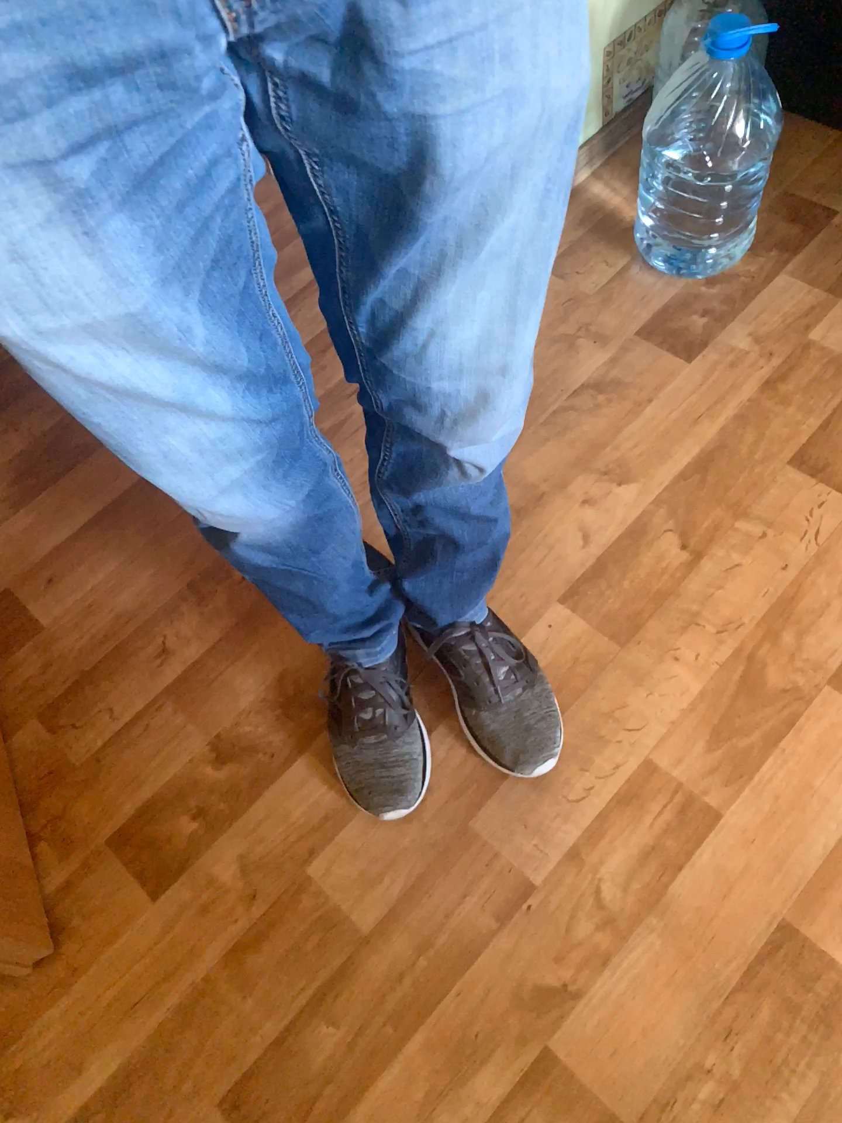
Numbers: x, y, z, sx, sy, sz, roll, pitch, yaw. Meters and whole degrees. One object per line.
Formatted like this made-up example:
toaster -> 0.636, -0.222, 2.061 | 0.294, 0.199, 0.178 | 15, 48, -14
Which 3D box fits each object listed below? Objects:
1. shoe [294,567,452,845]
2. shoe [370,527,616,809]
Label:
shoe -> -0.059, 0.163, 1.000 | 0.124, 0.100, 0.281 | -13, 58, 0
shoe -> 0.078, 0.117, 1.008 | 0.134, 0.100, 0.291 | -31, 59, -11
